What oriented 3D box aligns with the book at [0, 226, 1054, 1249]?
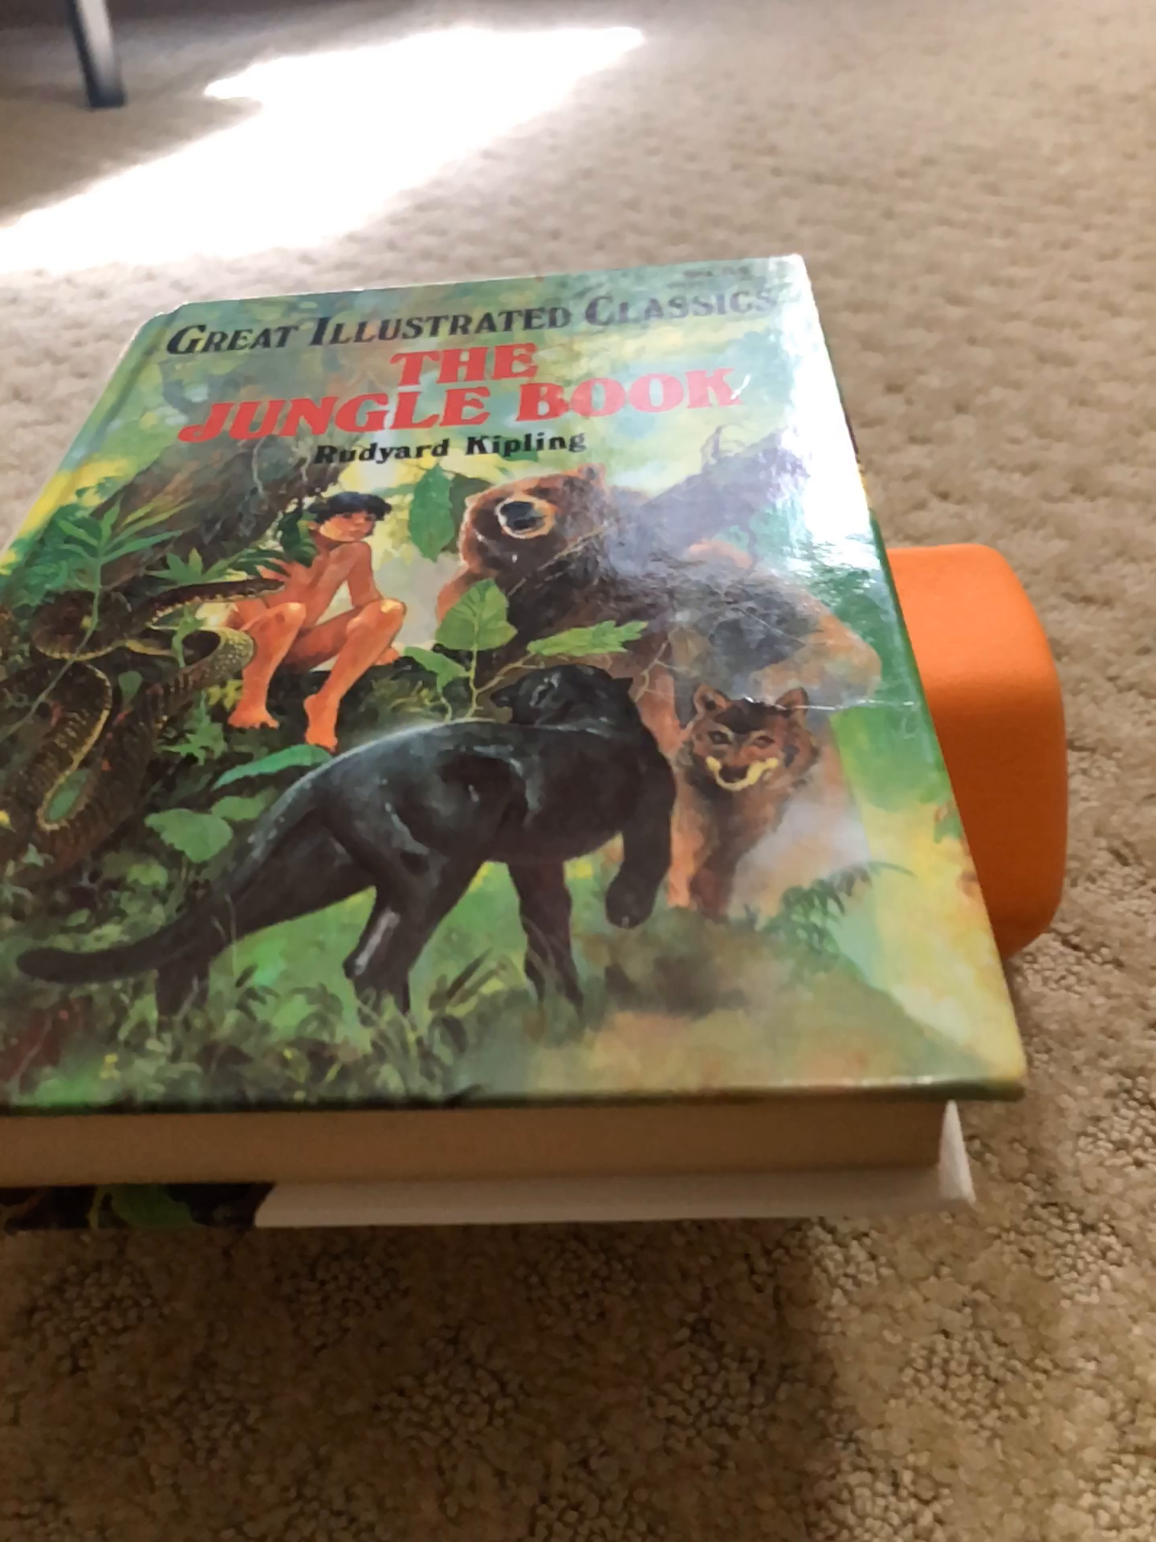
[{"bbox_3d":[-0.023,-0.030,0.211,0.140,0.029,0.208,-2,43,3],"label":"book"}]
